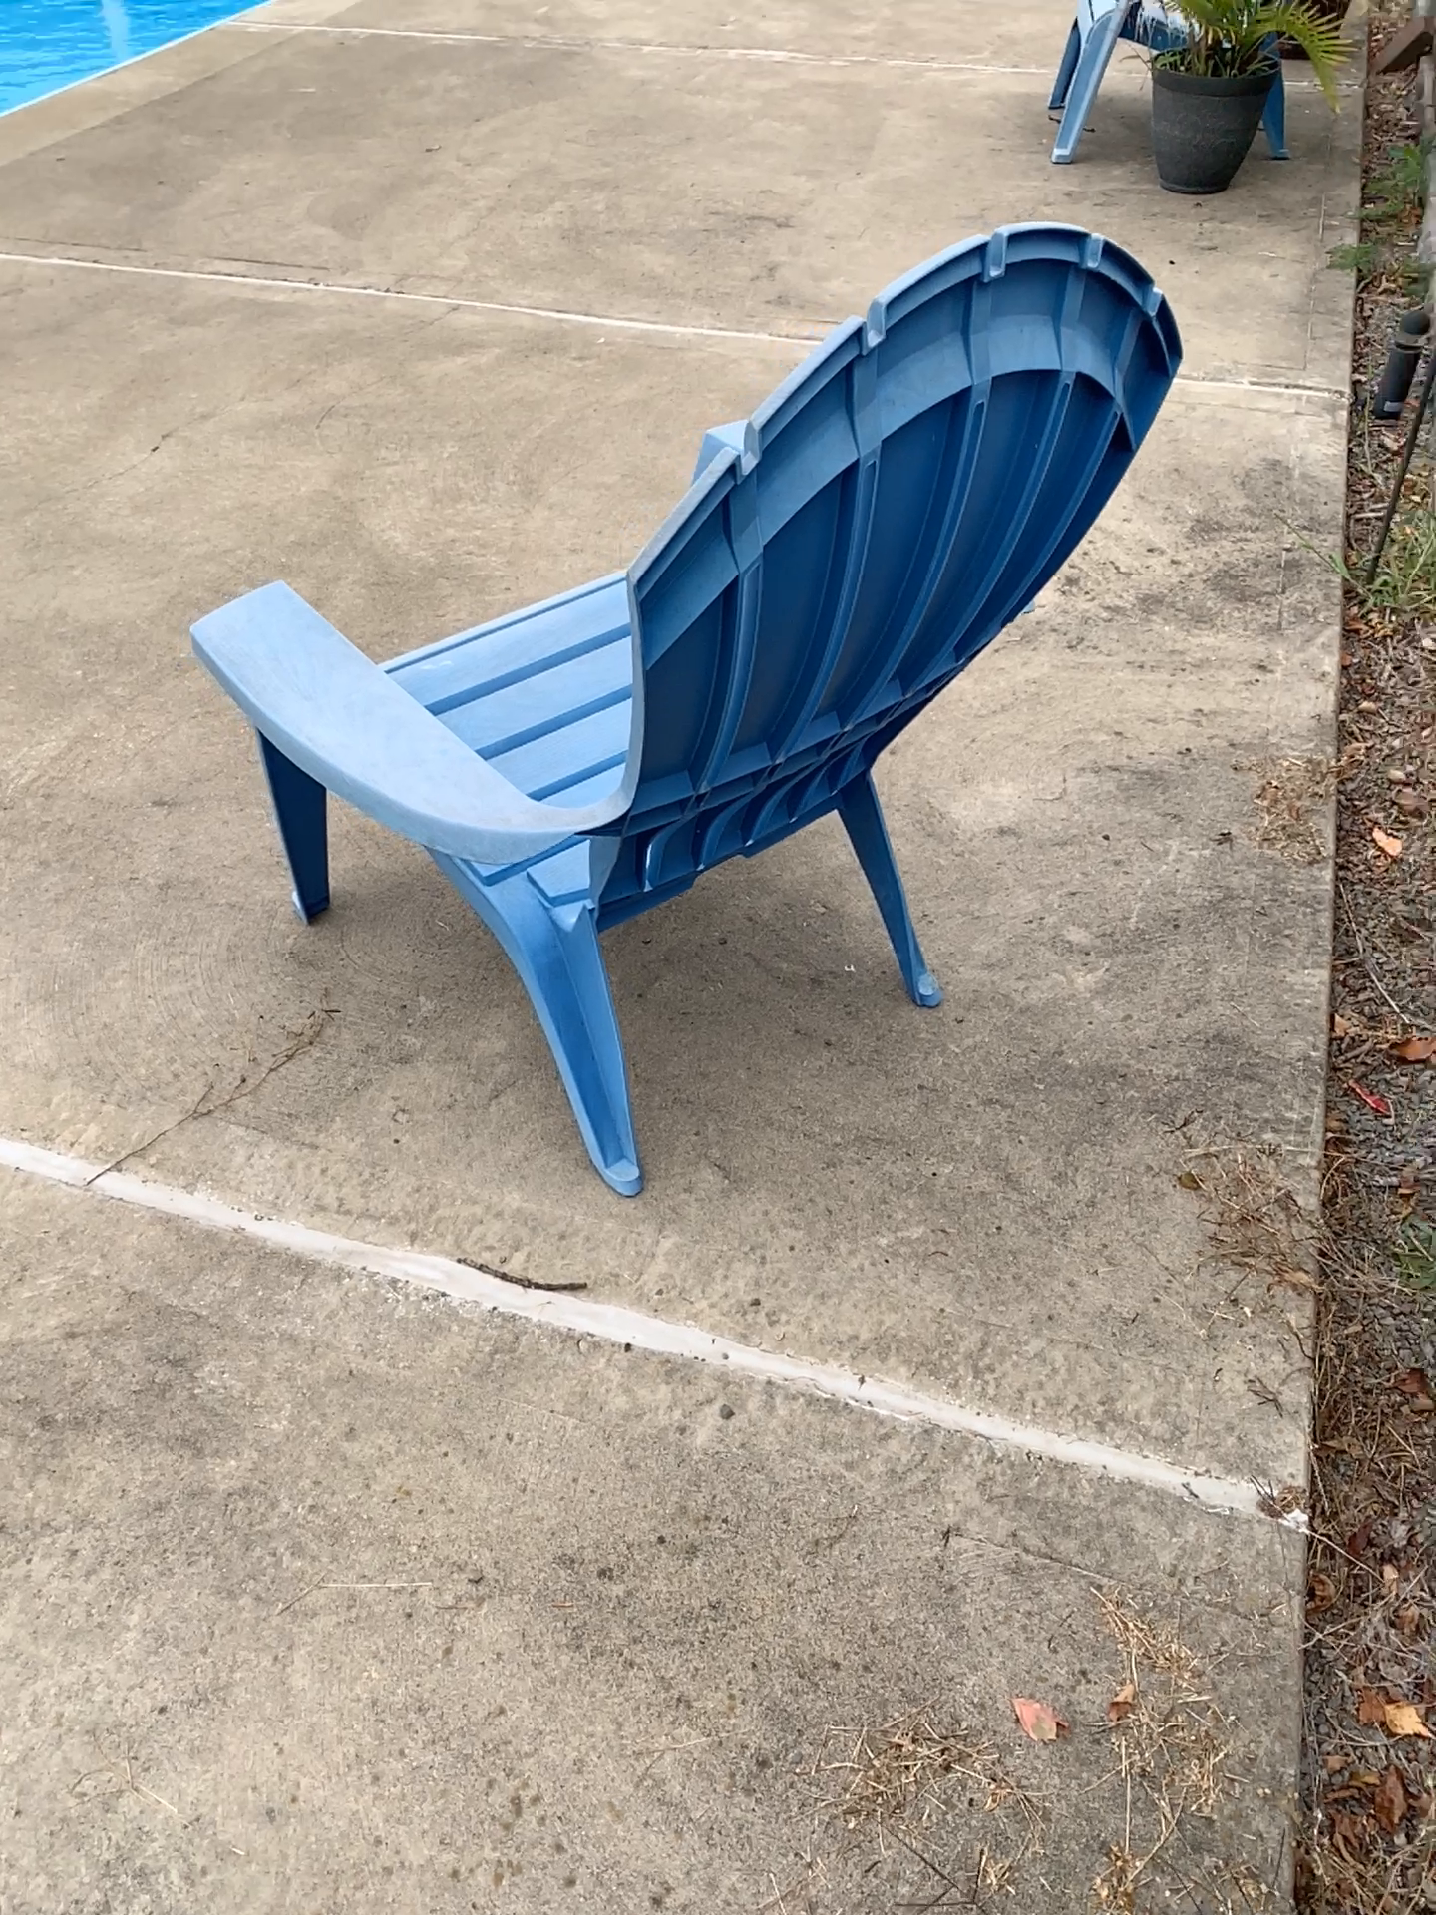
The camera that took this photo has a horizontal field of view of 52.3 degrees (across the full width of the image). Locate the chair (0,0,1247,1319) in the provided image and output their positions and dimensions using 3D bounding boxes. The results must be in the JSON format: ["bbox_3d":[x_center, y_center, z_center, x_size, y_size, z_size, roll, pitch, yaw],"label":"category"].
[{"bbox_3d":[-0.130,-0.354,1.386,0.701,0.885,0.763,-29,49,-25],"label":"chair"}]
